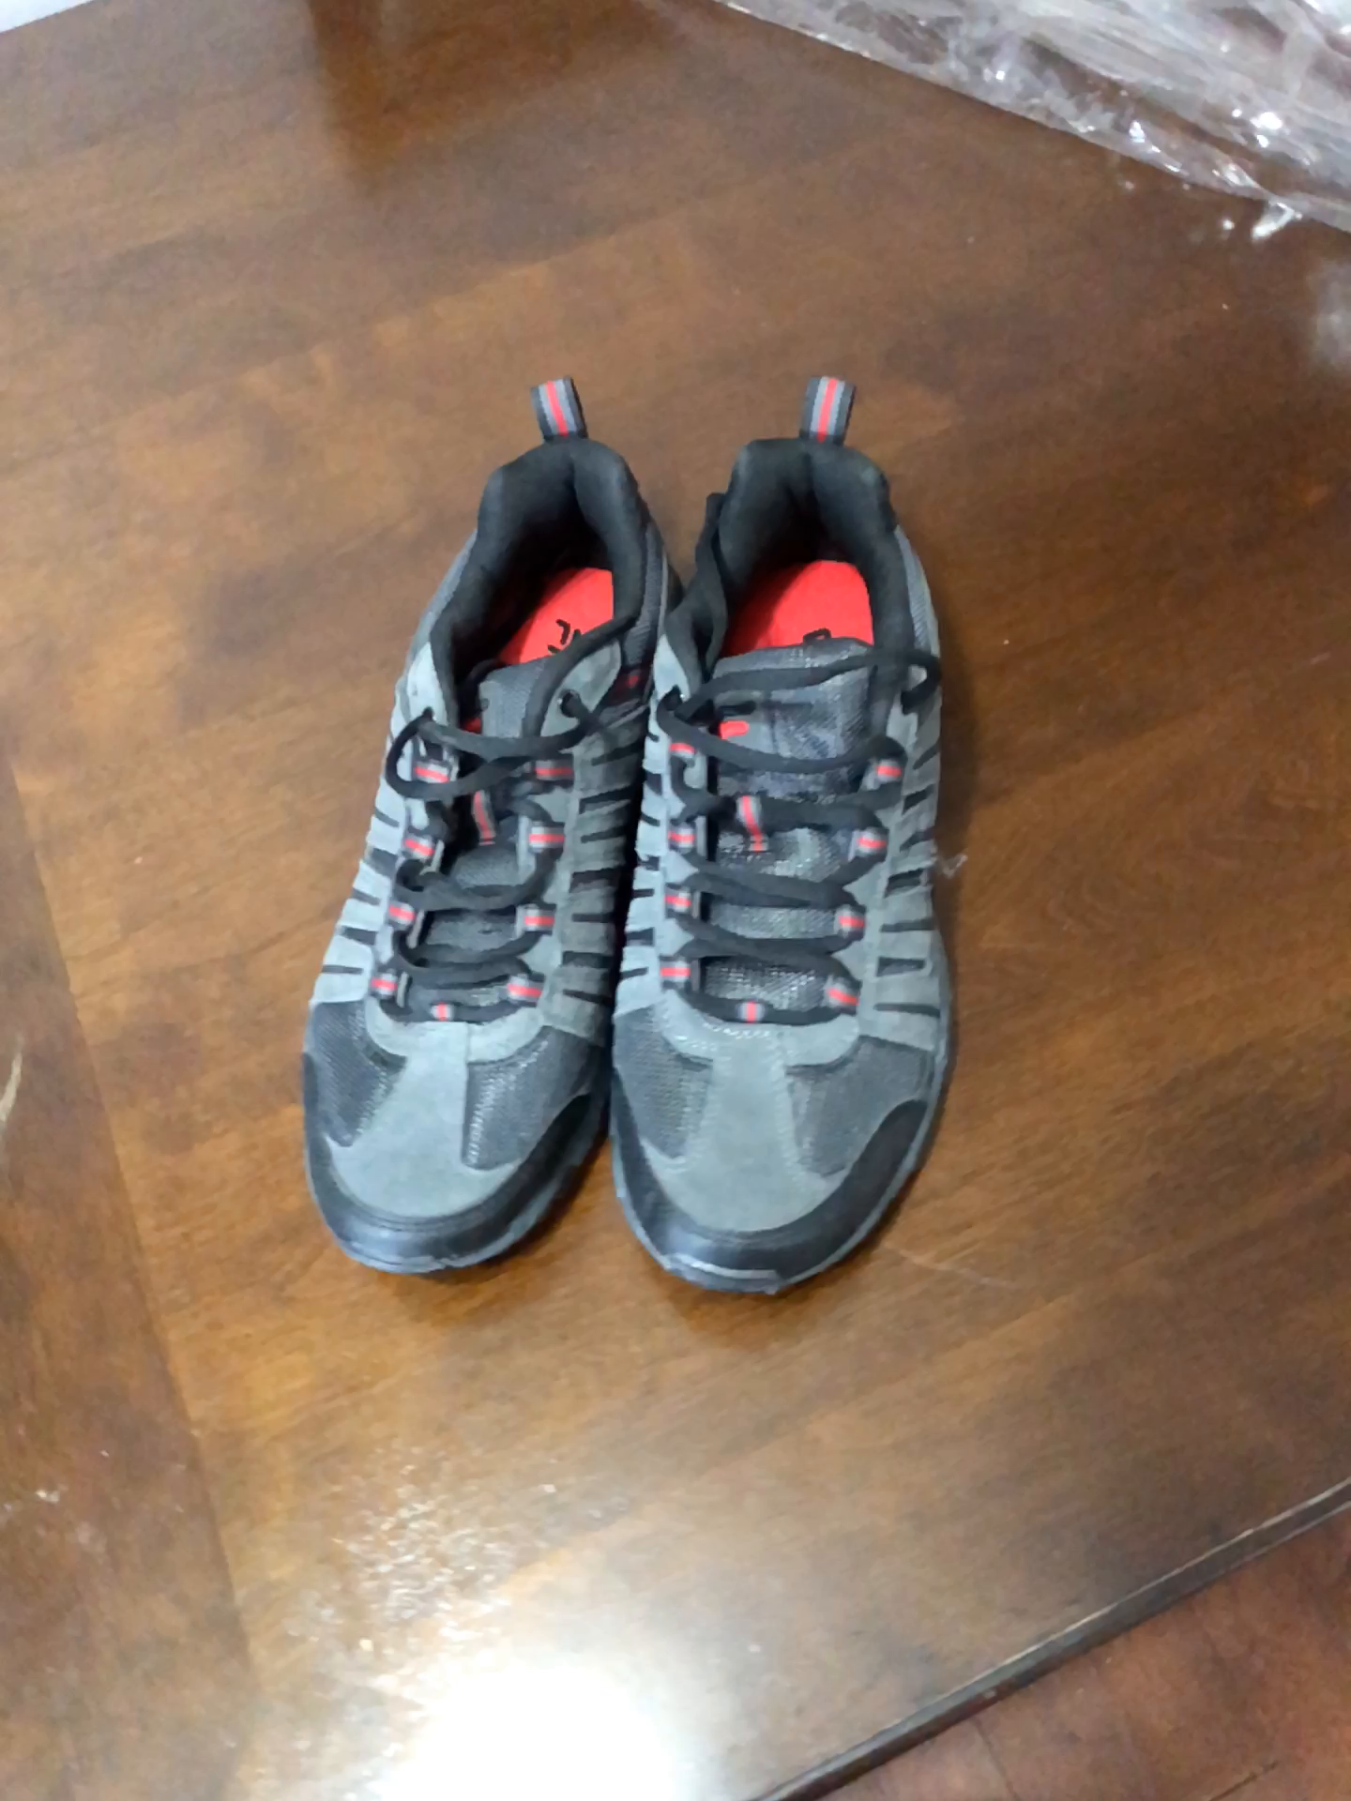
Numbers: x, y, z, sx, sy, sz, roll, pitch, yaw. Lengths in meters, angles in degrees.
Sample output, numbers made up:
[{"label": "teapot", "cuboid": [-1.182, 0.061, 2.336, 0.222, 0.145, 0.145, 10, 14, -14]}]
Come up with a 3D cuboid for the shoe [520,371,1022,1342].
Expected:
[{"label": "shoe", "cuboid": [0.043, -0.026, 0.487, 0.120, 0.100, 0.300, 4, 62, 8]}]

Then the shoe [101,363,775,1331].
[{"label": "shoe", "cuboid": [-0.057, -0.030, 0.499, 0.120, 0.100, 0.300, 9, 62, 11]}]
